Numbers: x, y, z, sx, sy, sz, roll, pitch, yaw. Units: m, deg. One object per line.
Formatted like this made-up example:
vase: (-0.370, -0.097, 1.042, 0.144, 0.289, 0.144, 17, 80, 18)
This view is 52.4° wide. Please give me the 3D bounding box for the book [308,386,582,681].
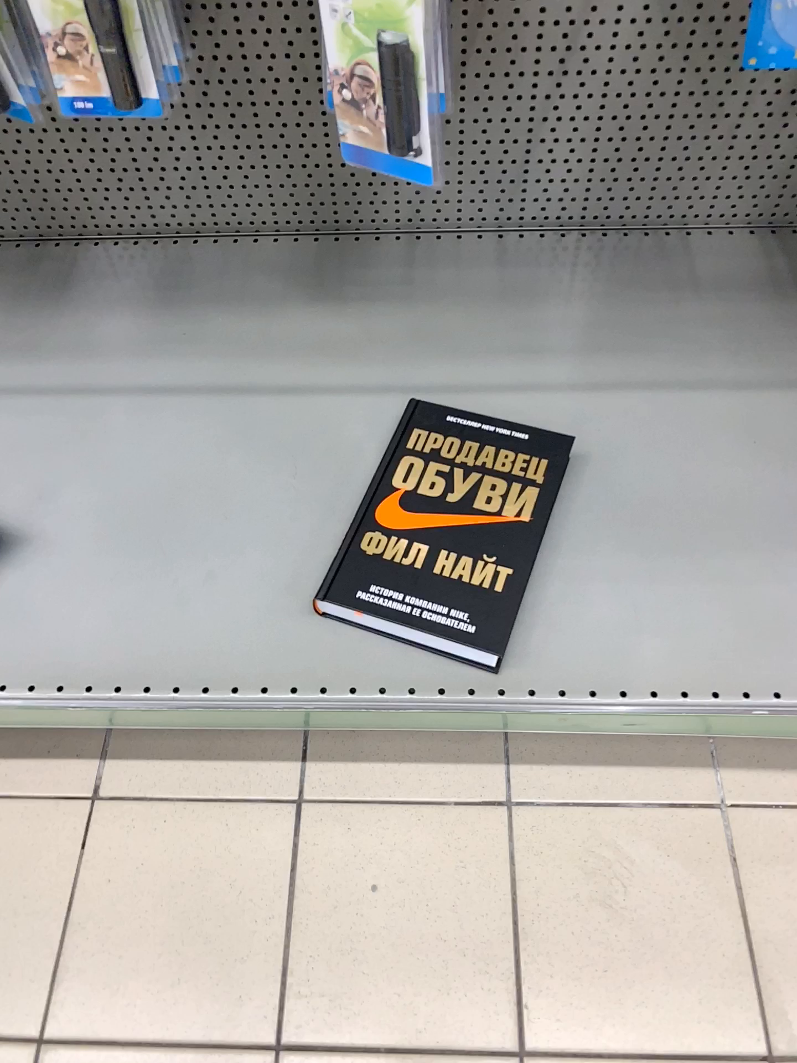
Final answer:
book: (0.049, -0.010, 0.738, 0.170, 0.042, 0.251, 17, 59, 13)
